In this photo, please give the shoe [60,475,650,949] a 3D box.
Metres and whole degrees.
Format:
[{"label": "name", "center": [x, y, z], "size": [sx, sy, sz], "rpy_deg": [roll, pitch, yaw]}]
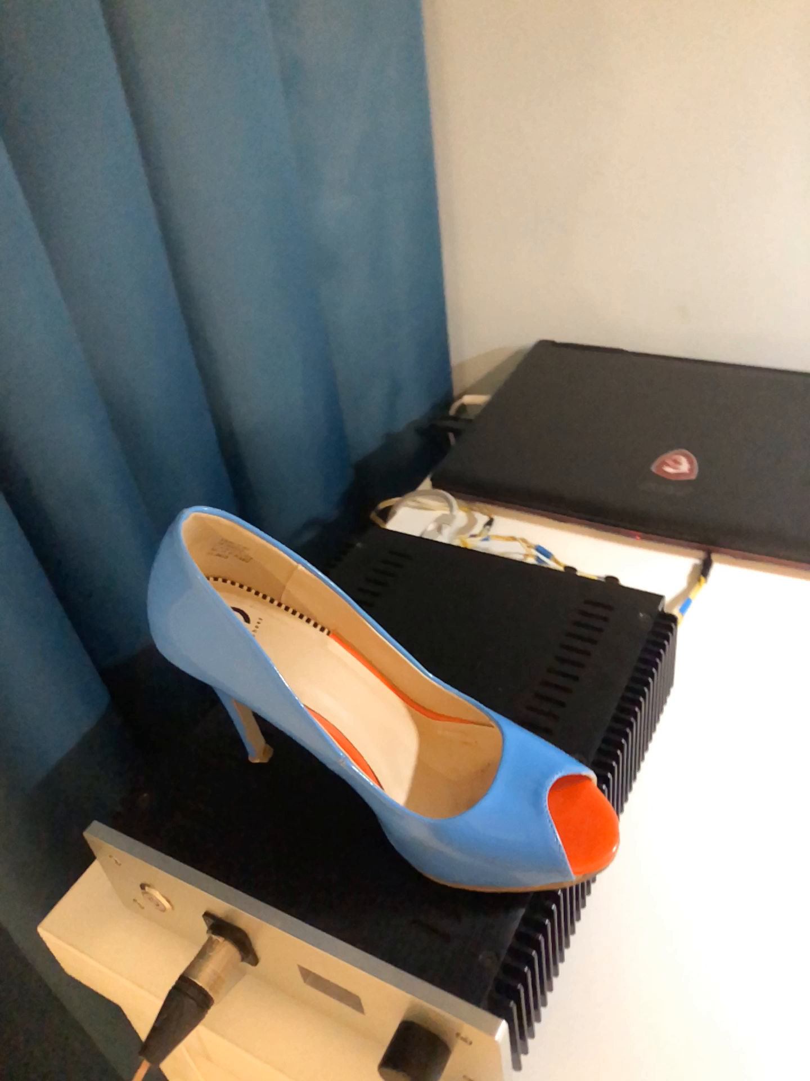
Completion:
[{"label": "shoe", "center": [-0.014, 0.068, 0.393], "size": [0.220, 0.149, 0.080], "rpy_deg": [9, 41, 23]}]
